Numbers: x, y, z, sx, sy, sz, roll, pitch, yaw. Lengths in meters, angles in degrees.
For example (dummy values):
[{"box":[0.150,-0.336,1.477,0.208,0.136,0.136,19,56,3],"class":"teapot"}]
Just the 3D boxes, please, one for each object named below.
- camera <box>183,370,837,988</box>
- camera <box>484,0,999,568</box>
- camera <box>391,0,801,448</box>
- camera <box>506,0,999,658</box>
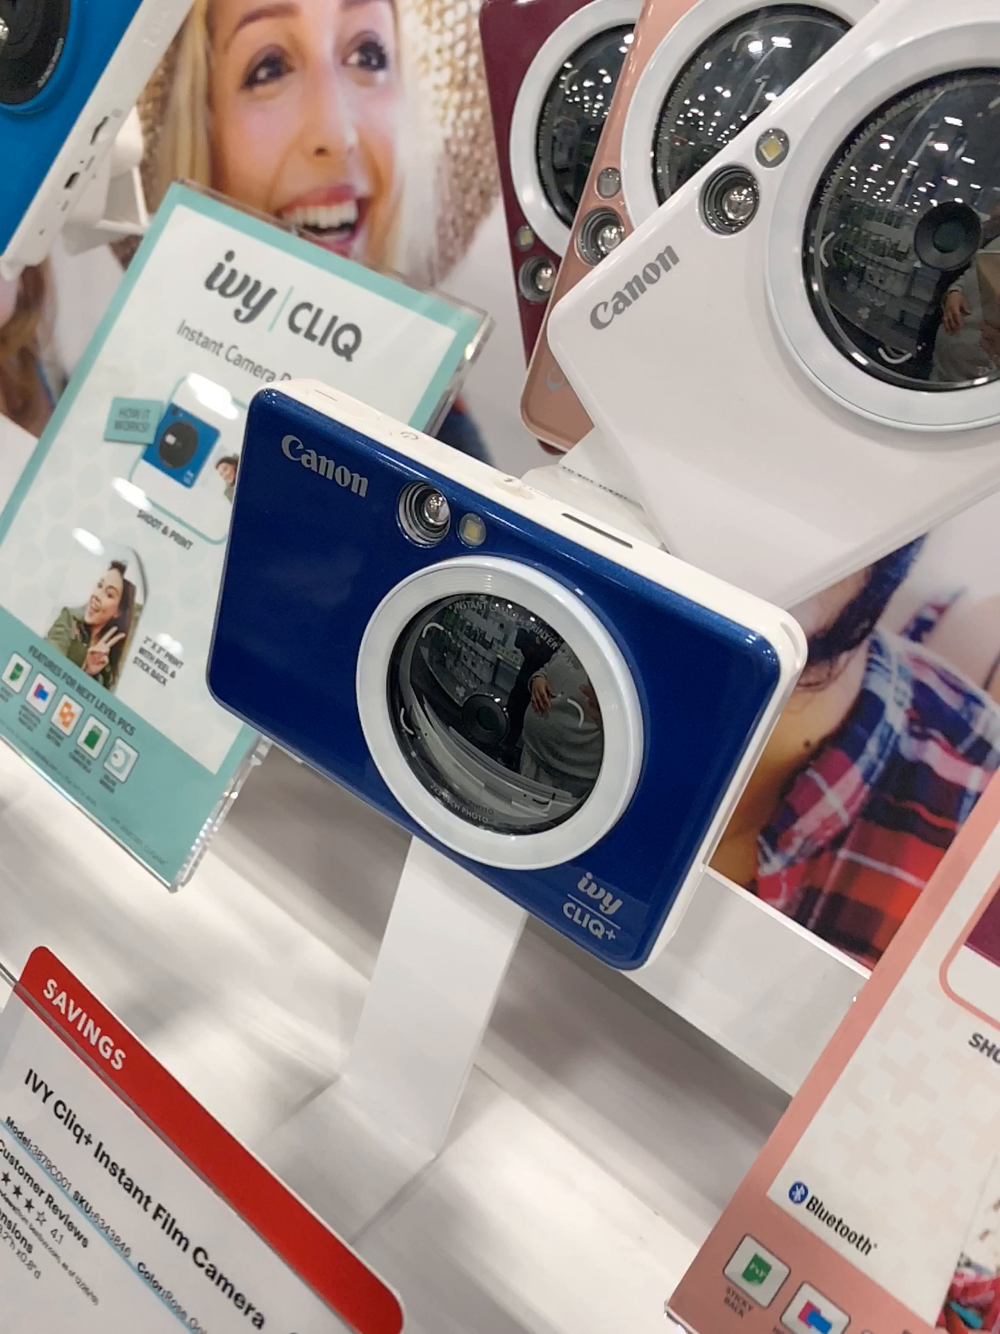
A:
[{"box":[-0.007,-0.002,0.207,0.120,0.070,0.028,29,32,22],"class":"camera"},{"box":[0.050,-0.093,0.221,0.078,0.119,0.028,29,31,22],"class":"camera"},{"box":[0.024,-0.114,0.248,0.078,0.110,0.028,1,19,33],"class":"camera"},{"box":[0.068,-0.065,0.186,0.028,0.119,0.078,-22,81,-52],"class":"camera"}]
